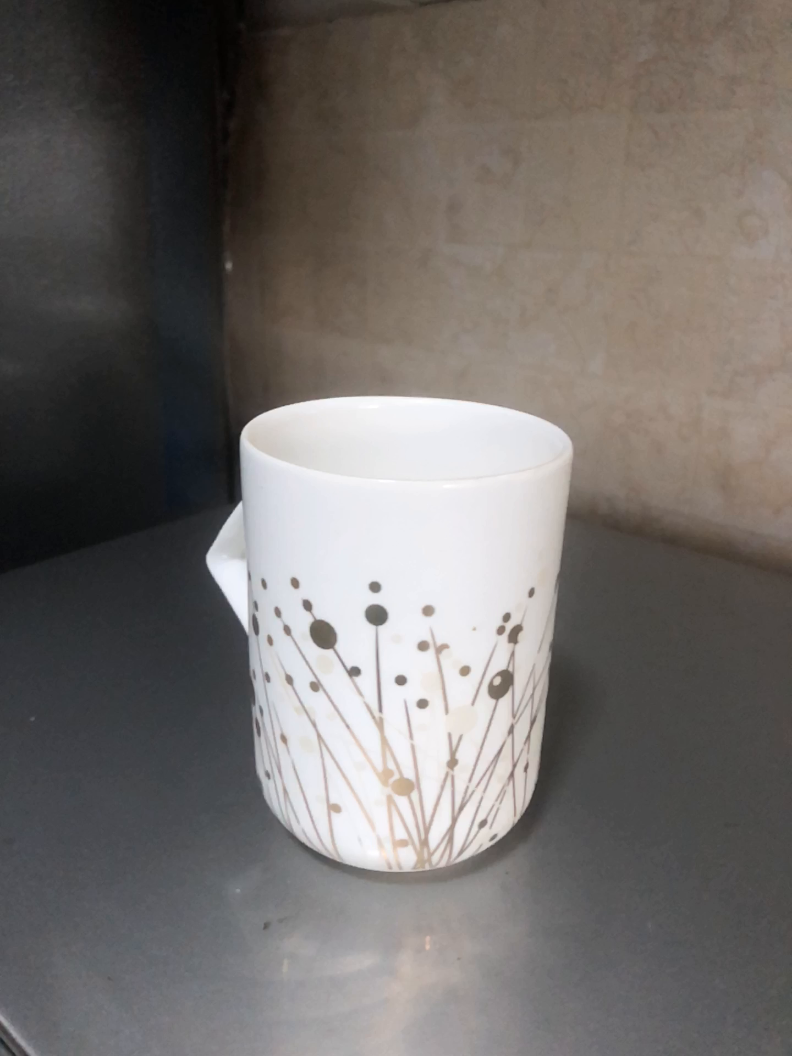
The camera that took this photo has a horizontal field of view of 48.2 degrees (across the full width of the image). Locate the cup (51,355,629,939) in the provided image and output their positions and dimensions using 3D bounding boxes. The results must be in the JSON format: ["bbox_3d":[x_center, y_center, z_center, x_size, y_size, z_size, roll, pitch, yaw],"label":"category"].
[{"bbox_3d":[-0.011,0.017,0.225,0.110,0.099,0.080,11,22,26],"label":"cup"}]
